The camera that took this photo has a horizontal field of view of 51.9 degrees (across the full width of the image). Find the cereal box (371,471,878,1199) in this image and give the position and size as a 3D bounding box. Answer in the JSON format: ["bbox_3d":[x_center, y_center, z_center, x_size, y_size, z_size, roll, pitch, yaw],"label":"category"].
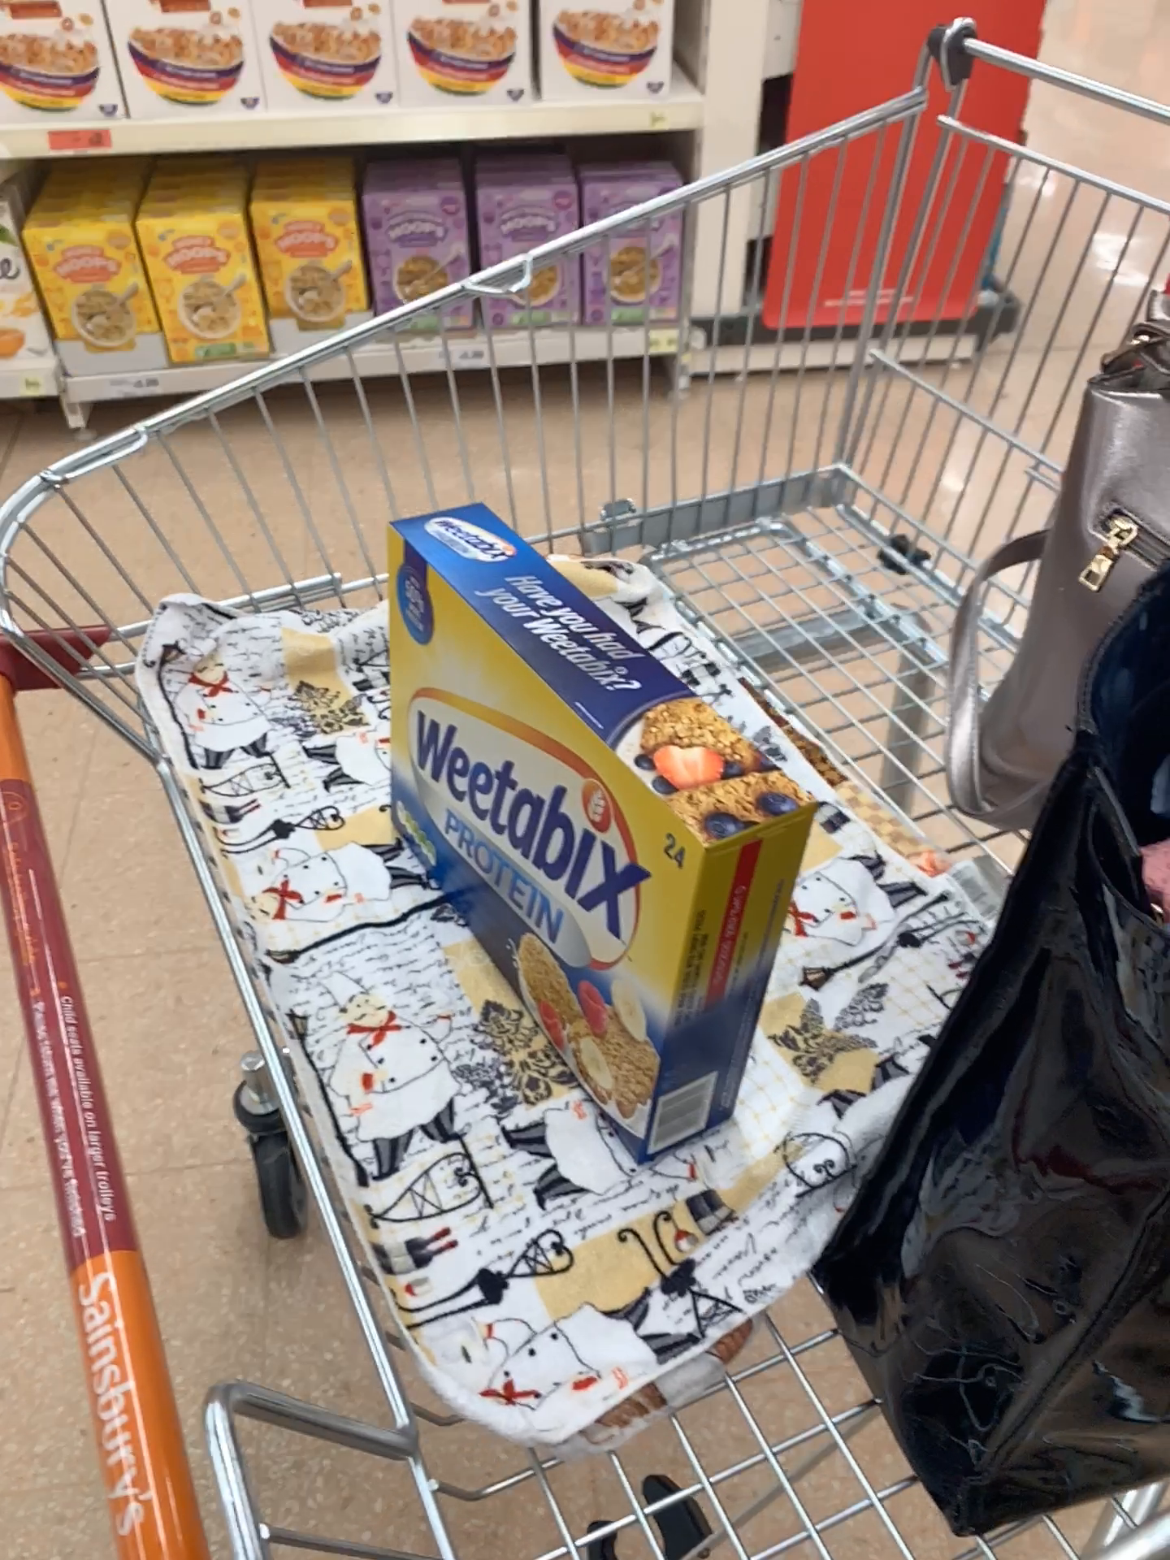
[{"bbox_3d":[-0.008,0.015,0.533,0.060,0.198,0.262,-19,46,-29],"label":"cereal box"}]
